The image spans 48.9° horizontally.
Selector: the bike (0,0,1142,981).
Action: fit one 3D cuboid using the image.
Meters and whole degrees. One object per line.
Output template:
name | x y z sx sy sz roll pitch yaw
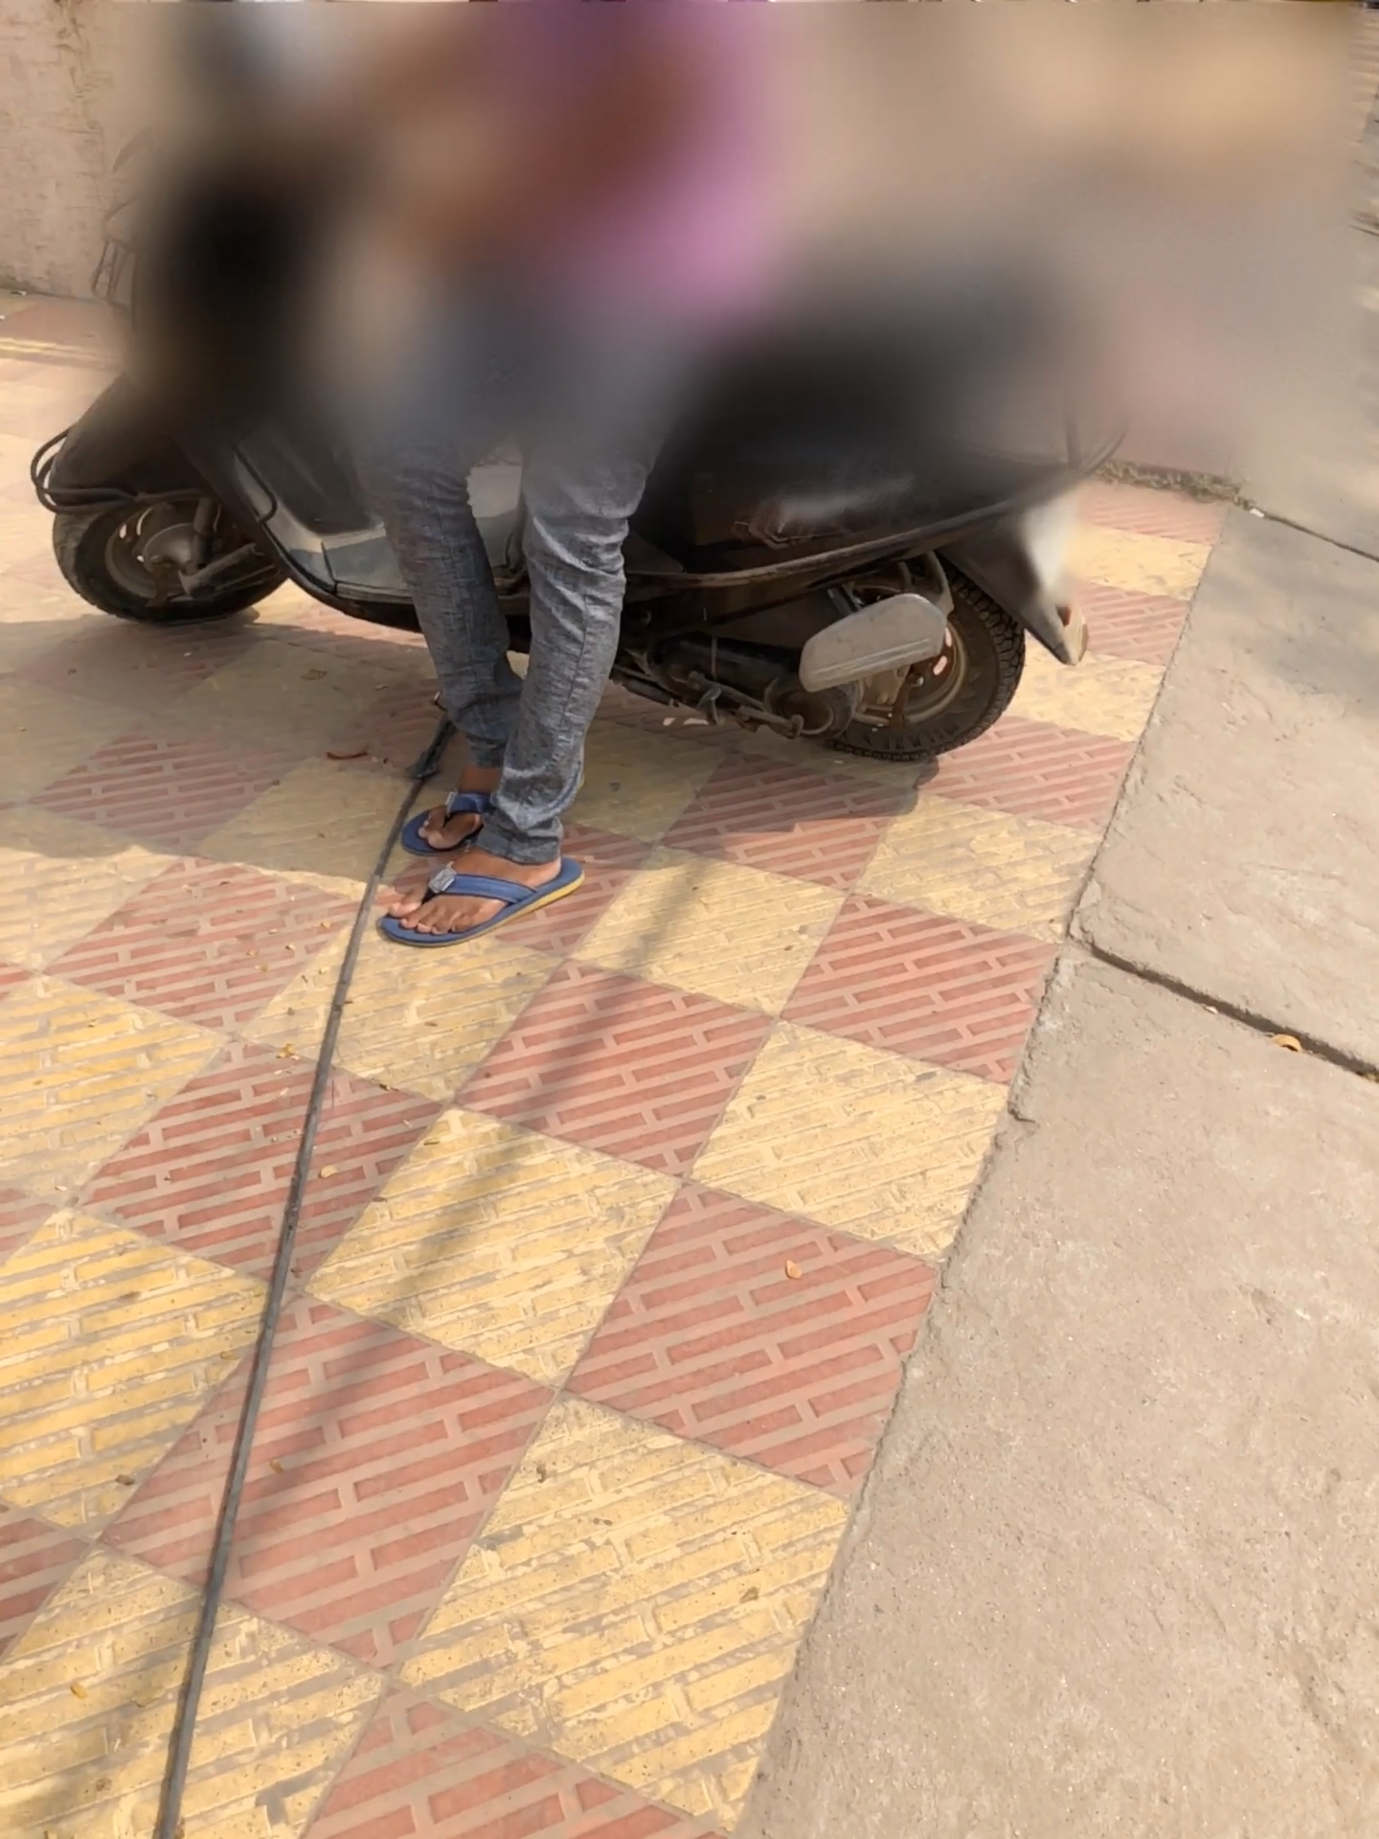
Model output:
bike | -0.344 -0.672 2.062 1.592 1.116 0.640 10 37 9
